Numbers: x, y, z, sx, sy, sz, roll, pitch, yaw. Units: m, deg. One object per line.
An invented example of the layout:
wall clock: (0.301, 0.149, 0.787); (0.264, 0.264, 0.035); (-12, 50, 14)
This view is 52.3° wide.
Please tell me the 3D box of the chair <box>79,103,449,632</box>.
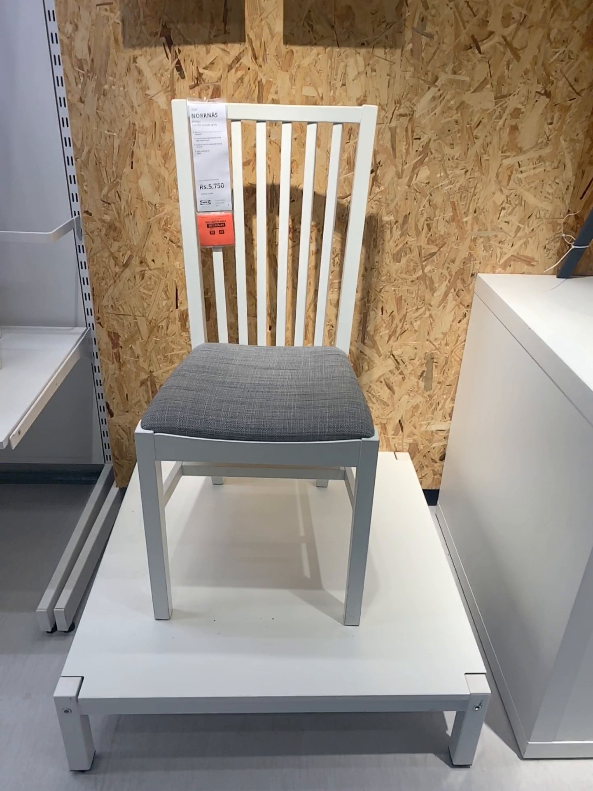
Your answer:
chair: (-0.051, -0.082, 1.235); (0.470, 0.896, 0.592); (2, 27, 0)
